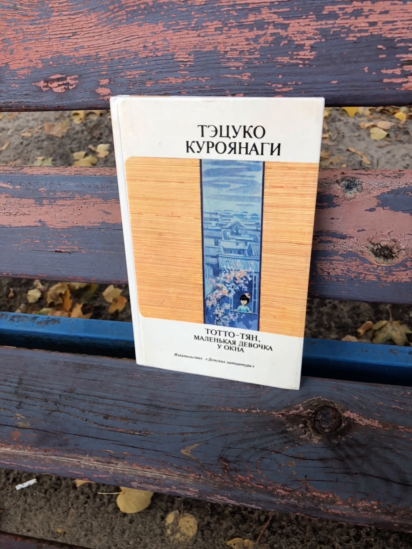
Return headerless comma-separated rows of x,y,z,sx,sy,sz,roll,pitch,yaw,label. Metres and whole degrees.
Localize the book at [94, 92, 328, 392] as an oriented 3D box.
0.001,-0.014,0.305,0.134,0.198,0.016,5,26,11,book
